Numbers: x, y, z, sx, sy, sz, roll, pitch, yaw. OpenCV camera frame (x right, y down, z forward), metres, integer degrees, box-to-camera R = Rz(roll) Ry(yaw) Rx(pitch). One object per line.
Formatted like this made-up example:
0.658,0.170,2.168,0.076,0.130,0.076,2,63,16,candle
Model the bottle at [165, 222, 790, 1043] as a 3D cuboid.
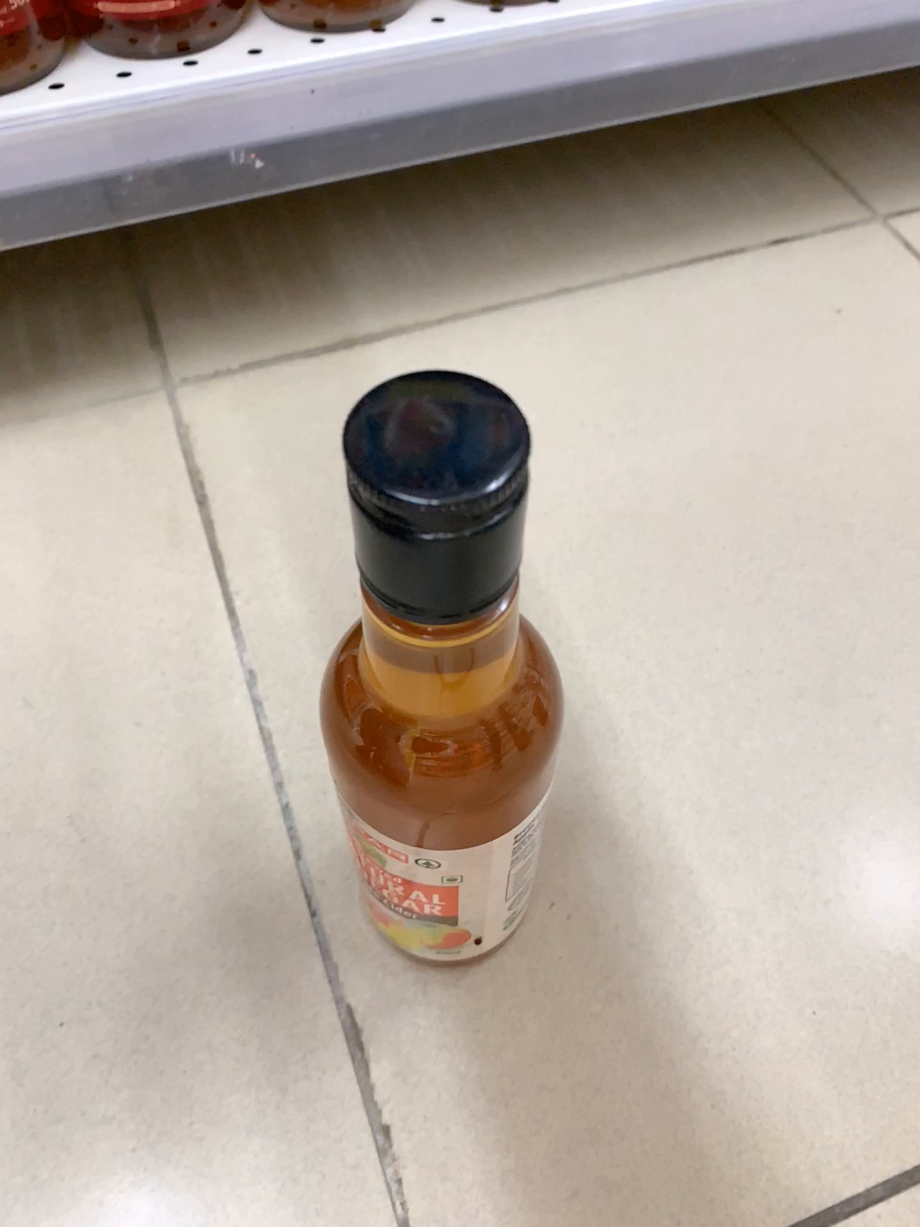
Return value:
0.002,0.032,0.230,0.060,0.219,0.070,-38,63,-23,bottle
